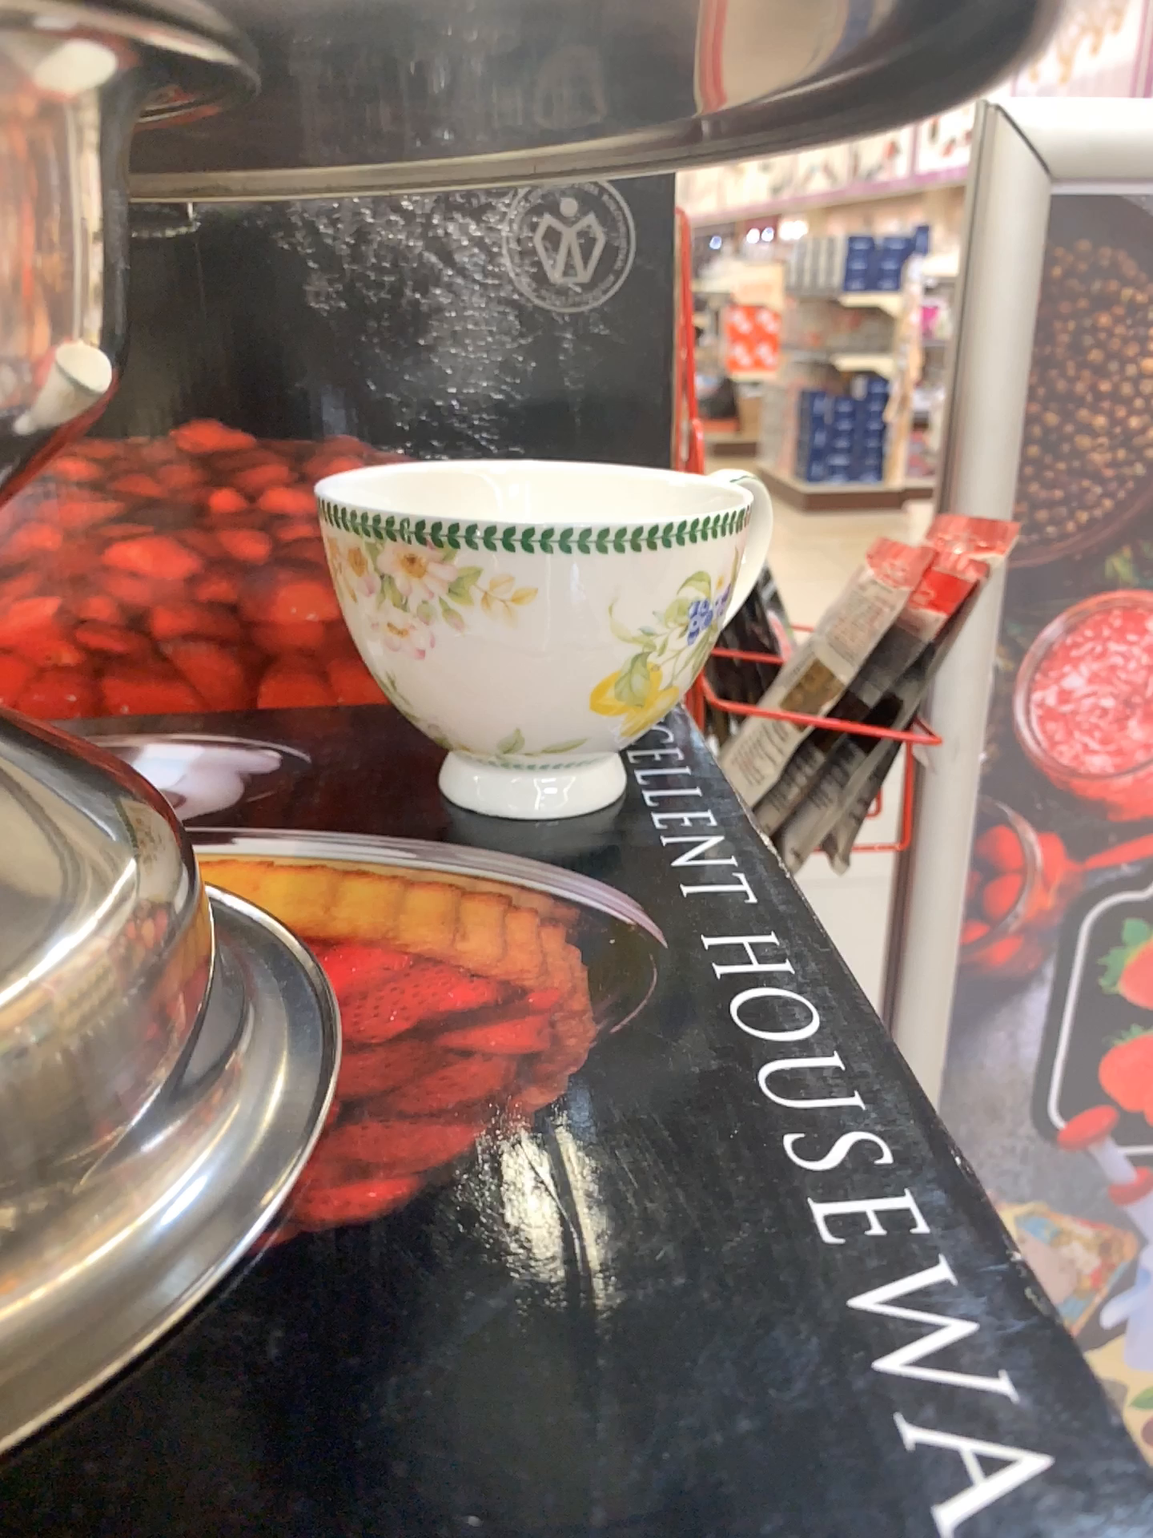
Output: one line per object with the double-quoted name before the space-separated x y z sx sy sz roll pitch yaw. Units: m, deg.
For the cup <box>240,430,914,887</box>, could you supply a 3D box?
"cup" 0.002 -0.040 0.305 0.130 0.070 0.100 -19 29 -38
